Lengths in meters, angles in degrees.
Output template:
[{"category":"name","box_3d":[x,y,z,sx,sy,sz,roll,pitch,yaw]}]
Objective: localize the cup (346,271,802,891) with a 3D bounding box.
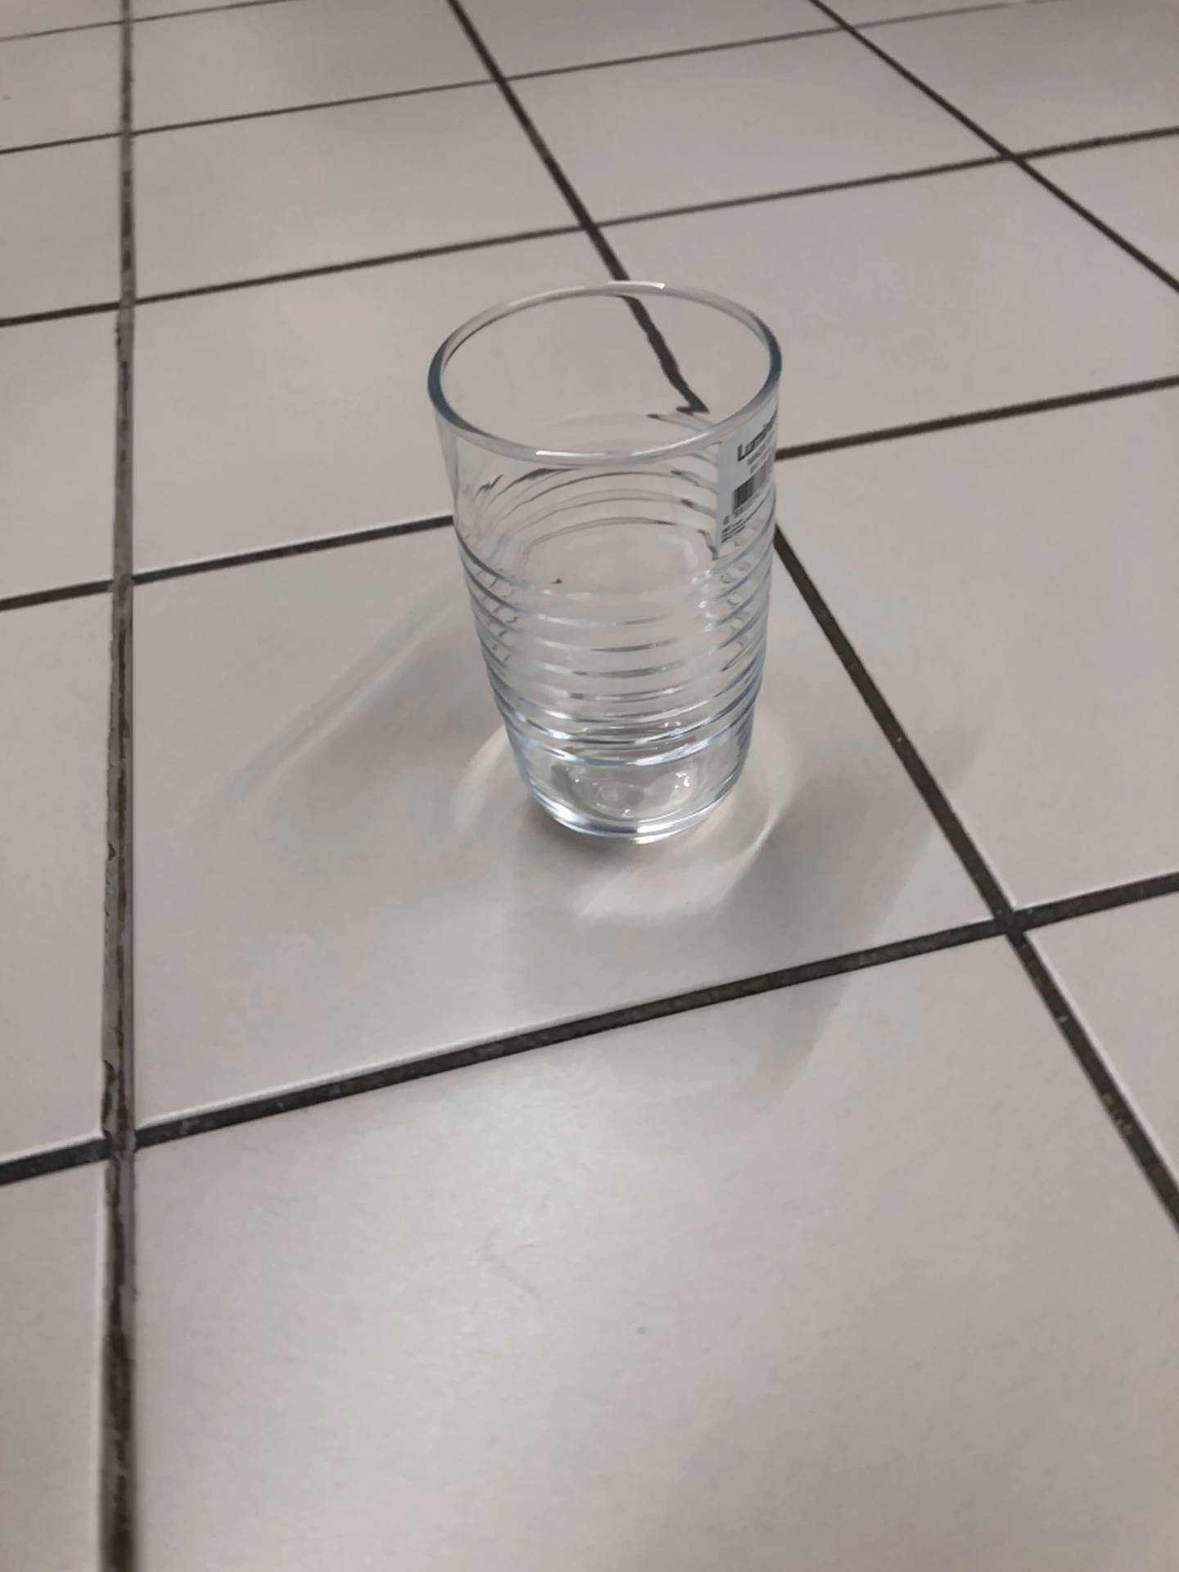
[{"category":"cup","box_3d":[0.004,-0.043,0.285,0.076,0.104,0.079,-2,46,2]}]
